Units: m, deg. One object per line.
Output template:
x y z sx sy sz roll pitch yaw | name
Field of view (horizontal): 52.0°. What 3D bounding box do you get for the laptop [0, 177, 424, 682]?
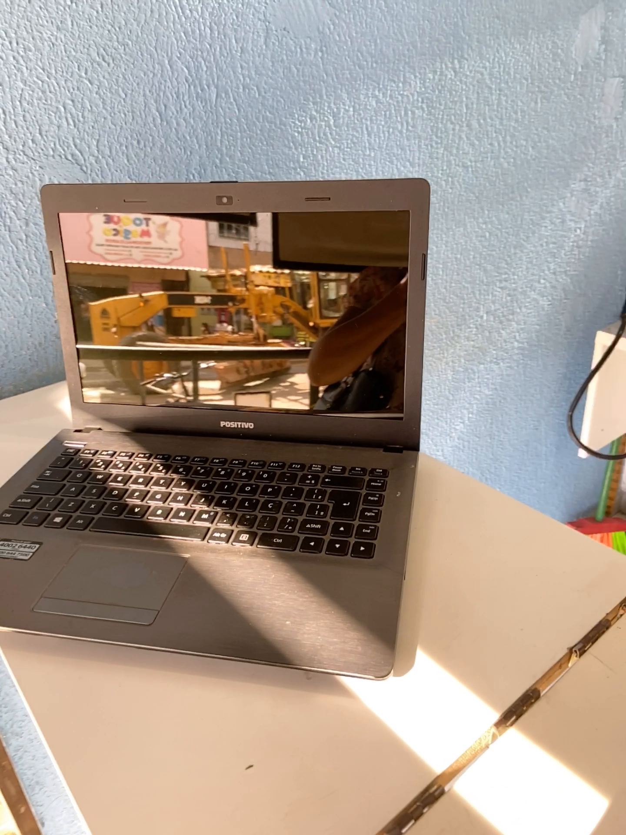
-0.100 -0.030 0.460 0.334 0.211 0.284 3 29 13 | laptop
